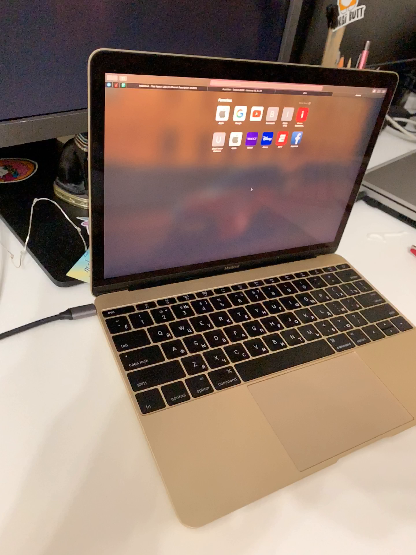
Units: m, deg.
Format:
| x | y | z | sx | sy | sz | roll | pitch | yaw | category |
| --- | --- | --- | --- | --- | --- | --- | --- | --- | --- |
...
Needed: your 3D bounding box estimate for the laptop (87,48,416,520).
| x | y | z | sx | sy | sz | roll | pitch | yaw | category |
| --- | --- | --- | --- | --- | --- | --- | --- | --- | --- |
| 0.071 | -0.023 | 0.287 | 0.247 | 0.168 | 0.198 | -10 | 43 | -27 | laptop |
